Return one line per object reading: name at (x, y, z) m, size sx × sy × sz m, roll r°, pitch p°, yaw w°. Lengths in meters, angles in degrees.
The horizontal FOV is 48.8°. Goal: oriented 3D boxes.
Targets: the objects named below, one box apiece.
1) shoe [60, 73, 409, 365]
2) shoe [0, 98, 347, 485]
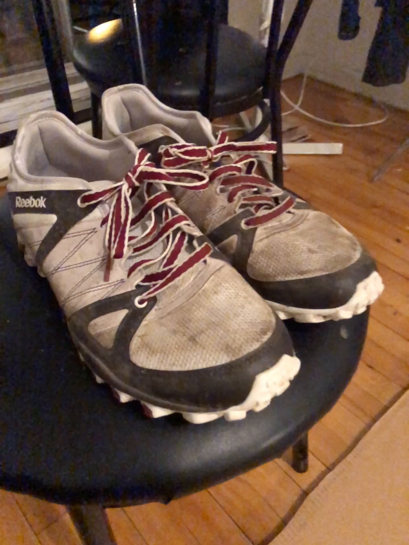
shoe at (0.009, -0.068, 0.370) m, size 0.110 × 0.089 × 0.281 m, roll -30°, pitch 51°, yaw -31°
shoe at (-0.061, -0.018, 0.301) m, size 0.110 × 0.089 × 0.271 m, roll -30°, pitch 51°, yaw -31°
